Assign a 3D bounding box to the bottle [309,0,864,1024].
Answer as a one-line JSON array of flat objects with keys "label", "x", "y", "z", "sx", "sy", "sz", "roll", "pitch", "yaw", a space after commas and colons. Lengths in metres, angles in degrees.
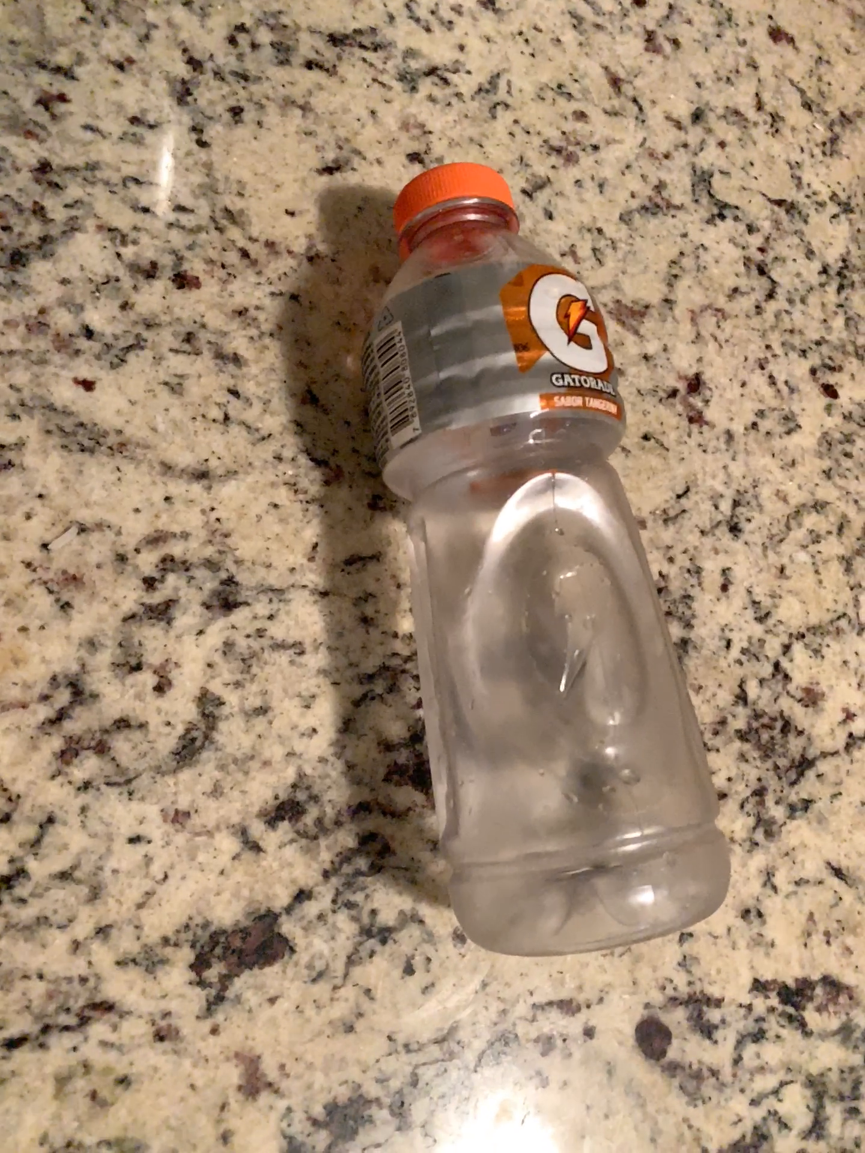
[{"label": "bottle", "x": 0.026, "y": -0.022, "z": 0.223, "sx": 0.070, "sy": 0.070, "sz": 0.220, "roll": -6, "pitch": 77, "yaw": -20}]
